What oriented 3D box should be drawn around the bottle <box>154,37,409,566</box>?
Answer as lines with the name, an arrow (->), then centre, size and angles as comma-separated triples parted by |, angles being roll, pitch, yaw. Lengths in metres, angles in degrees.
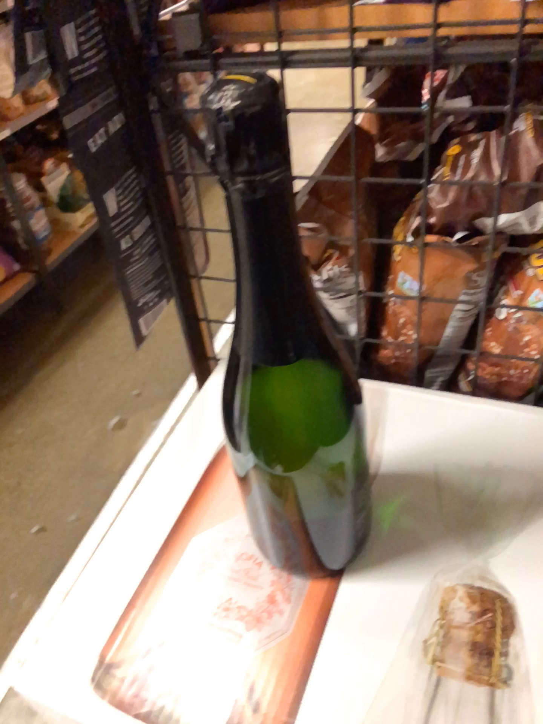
bottle -> 0.021, -0.007, 0.337 | 0.090, 0.289, 0.090 | -5, 39, 4
